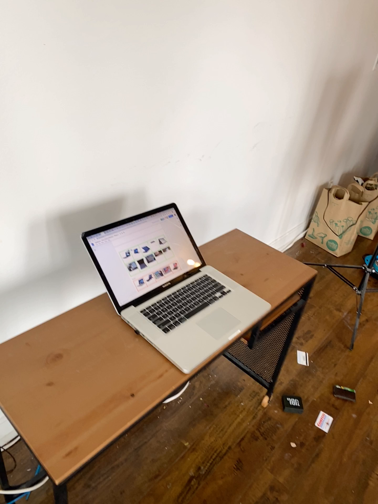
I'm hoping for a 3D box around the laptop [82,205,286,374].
[{"bbox_3d":[-0.022,0.064,1.091,0.436,0.155,0.360,32,40,32],"label":"laptop"}]
